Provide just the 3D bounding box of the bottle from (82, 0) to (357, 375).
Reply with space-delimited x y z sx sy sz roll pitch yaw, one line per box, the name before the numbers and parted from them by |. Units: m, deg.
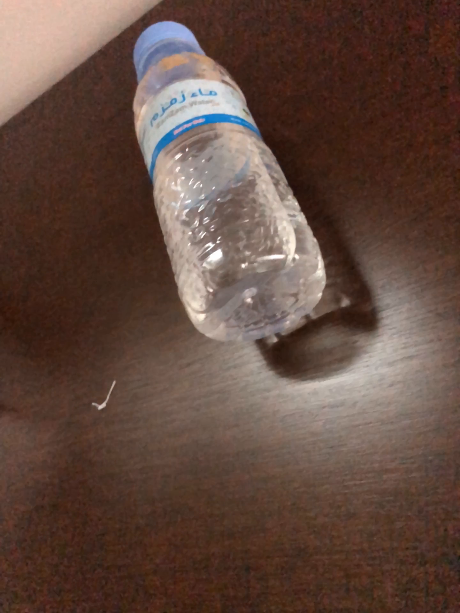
bottle | -0.012 -0.060 0.205 0.050 0.050 0.160 -29 55 13
